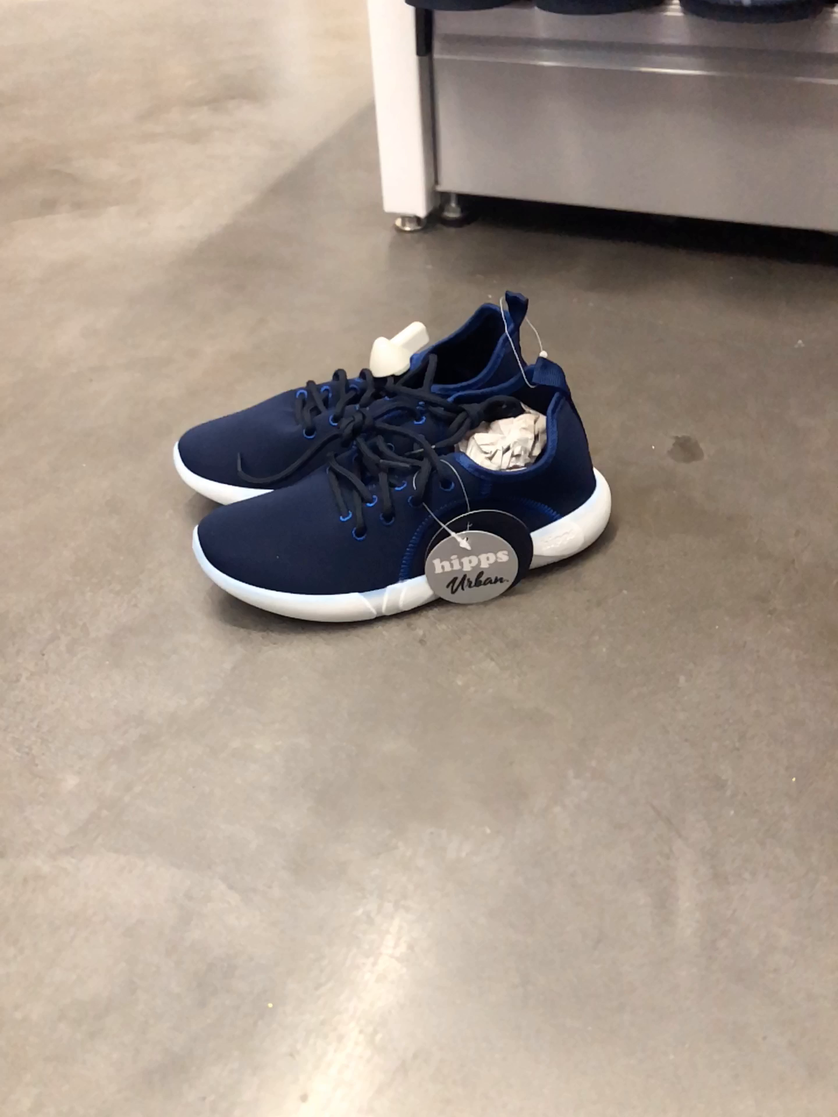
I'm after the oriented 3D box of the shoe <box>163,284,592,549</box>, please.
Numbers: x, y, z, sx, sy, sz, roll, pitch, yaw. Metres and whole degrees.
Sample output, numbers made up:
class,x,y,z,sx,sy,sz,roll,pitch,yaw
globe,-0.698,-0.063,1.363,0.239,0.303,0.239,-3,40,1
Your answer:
class,x,y,z,sx,sy,sz,roll,pitch,yaw
shoe,-0.026,-0.091,0.572,0.240,0.090,0.090,-11,43,-8

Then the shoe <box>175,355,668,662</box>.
class,x,y,z,sx,sy,sz,roll,pitch,yaw
shoe,-0.001,-0.031,0.505,0.240,0.090,0.090,-11,43,-8
